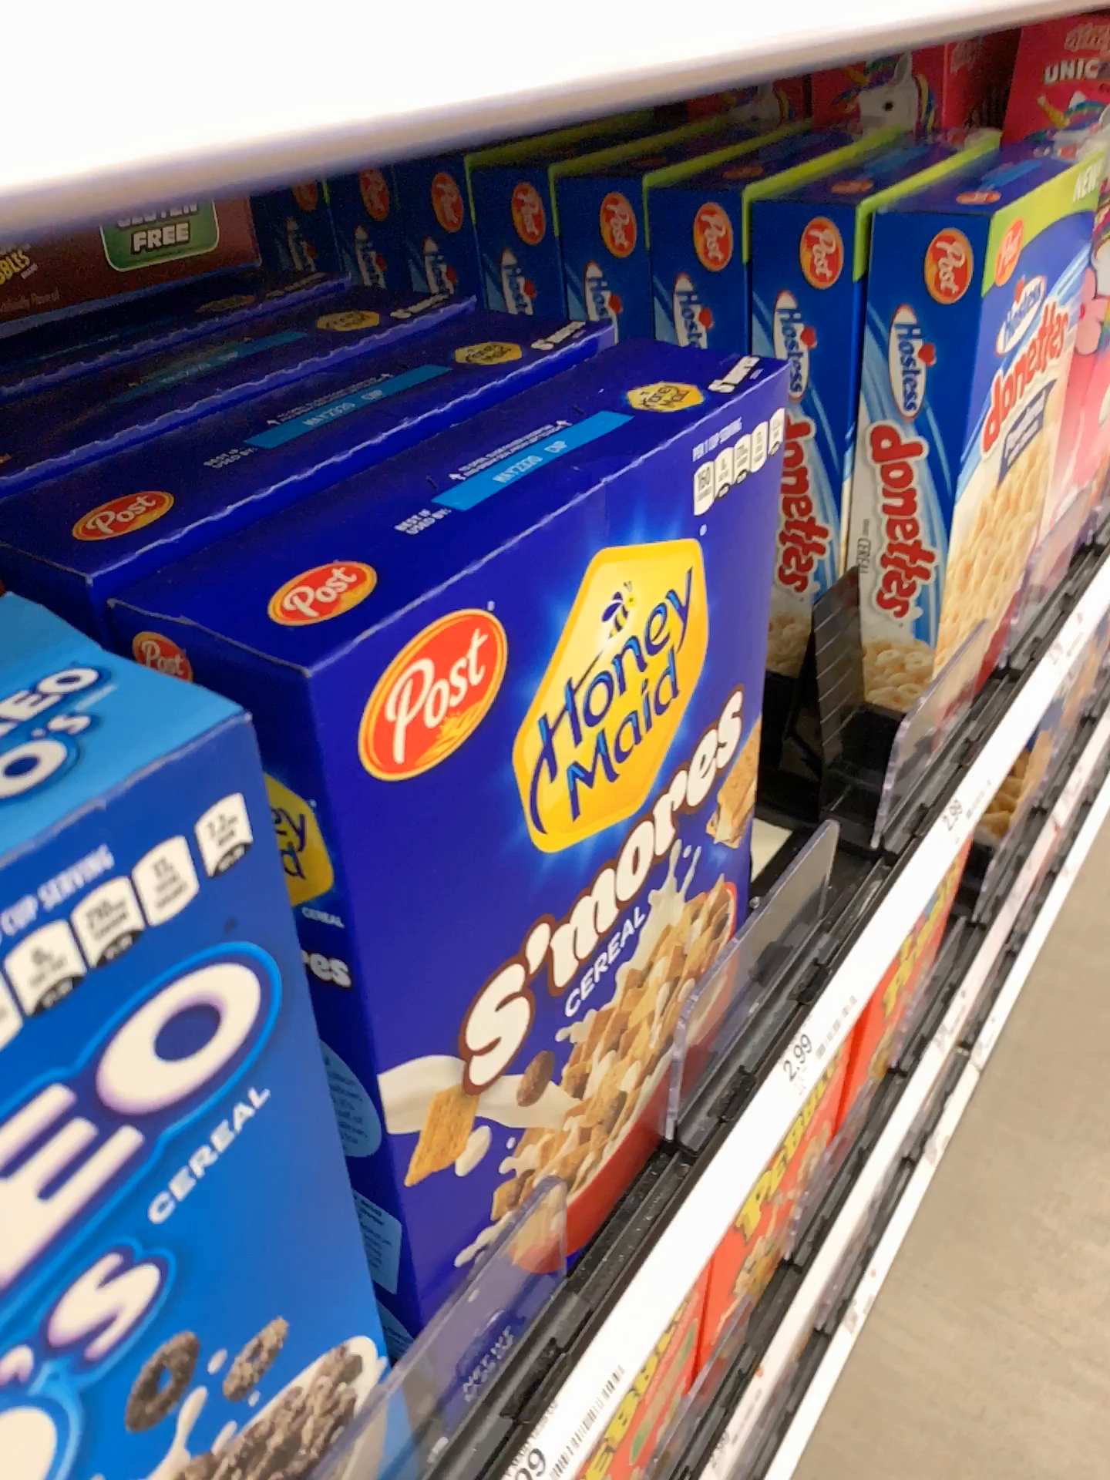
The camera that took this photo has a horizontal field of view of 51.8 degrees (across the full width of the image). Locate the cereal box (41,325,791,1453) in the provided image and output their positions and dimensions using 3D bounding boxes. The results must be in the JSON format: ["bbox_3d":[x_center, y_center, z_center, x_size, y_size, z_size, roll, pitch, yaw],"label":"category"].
[{"bbox_3d":[-0.011,0.043,0.337,0.060,0.269,0.191,20,41,30],"label":"cereal box"}]

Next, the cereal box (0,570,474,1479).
[{"bbox_3d":[-0.107,0.135,0.207,0.070,0.269,0.181,18,40,28],"label":"cereal box"}]
